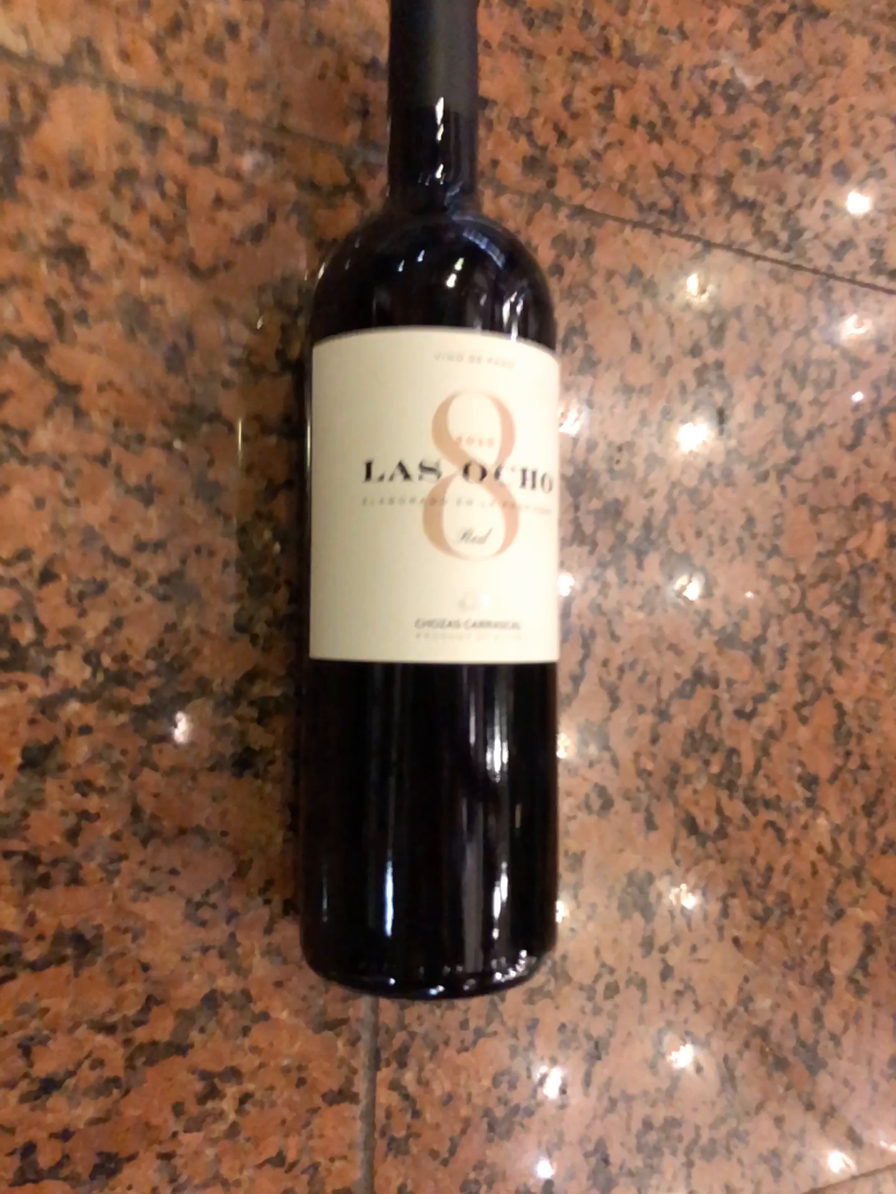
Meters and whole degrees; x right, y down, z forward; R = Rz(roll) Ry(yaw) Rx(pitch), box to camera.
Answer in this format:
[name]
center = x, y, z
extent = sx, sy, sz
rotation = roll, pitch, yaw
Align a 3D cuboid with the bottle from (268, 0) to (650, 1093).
[bottle]
center = 0.001, -0.044, 0.293
extent = 0.090, 0.060, 0.330
rotation = 0, 88, -27
